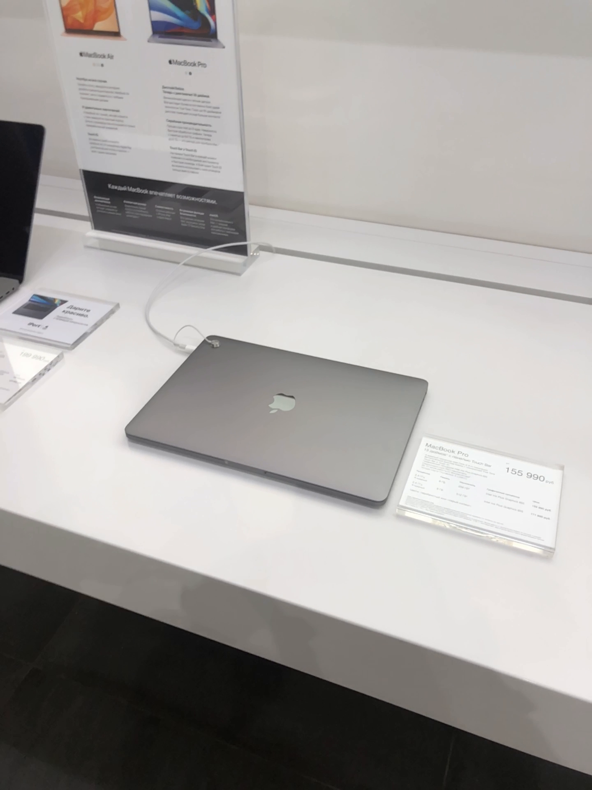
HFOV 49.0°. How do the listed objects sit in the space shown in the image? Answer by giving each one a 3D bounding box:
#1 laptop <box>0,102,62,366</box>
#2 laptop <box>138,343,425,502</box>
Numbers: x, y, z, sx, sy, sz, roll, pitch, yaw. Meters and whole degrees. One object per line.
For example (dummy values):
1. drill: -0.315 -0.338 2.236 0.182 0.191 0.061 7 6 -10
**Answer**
1. laptop: -0.624 -0.262 0.950 0.348 0.190 0.381 12 41 16
2. laptop: -0.010 0.017 0.754 0.279 0.001 0.203 12 40 19
